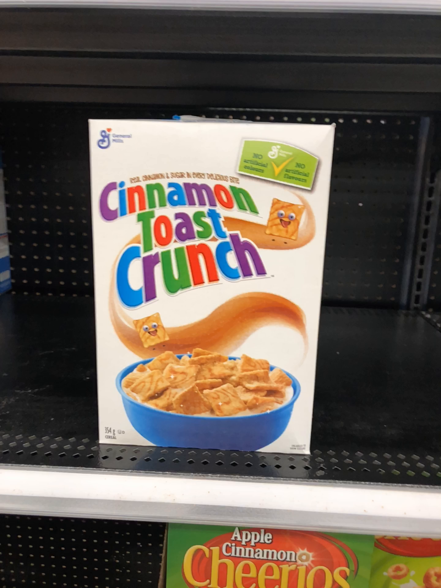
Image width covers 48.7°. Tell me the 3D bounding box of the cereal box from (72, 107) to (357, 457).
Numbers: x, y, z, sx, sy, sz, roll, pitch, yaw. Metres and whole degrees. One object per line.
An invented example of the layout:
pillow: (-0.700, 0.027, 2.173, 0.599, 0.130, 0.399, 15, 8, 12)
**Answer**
cereal box: (-0.008, -0.006, 0.415, 0.210, 0.279, 0.050, 2, 13, 2)
